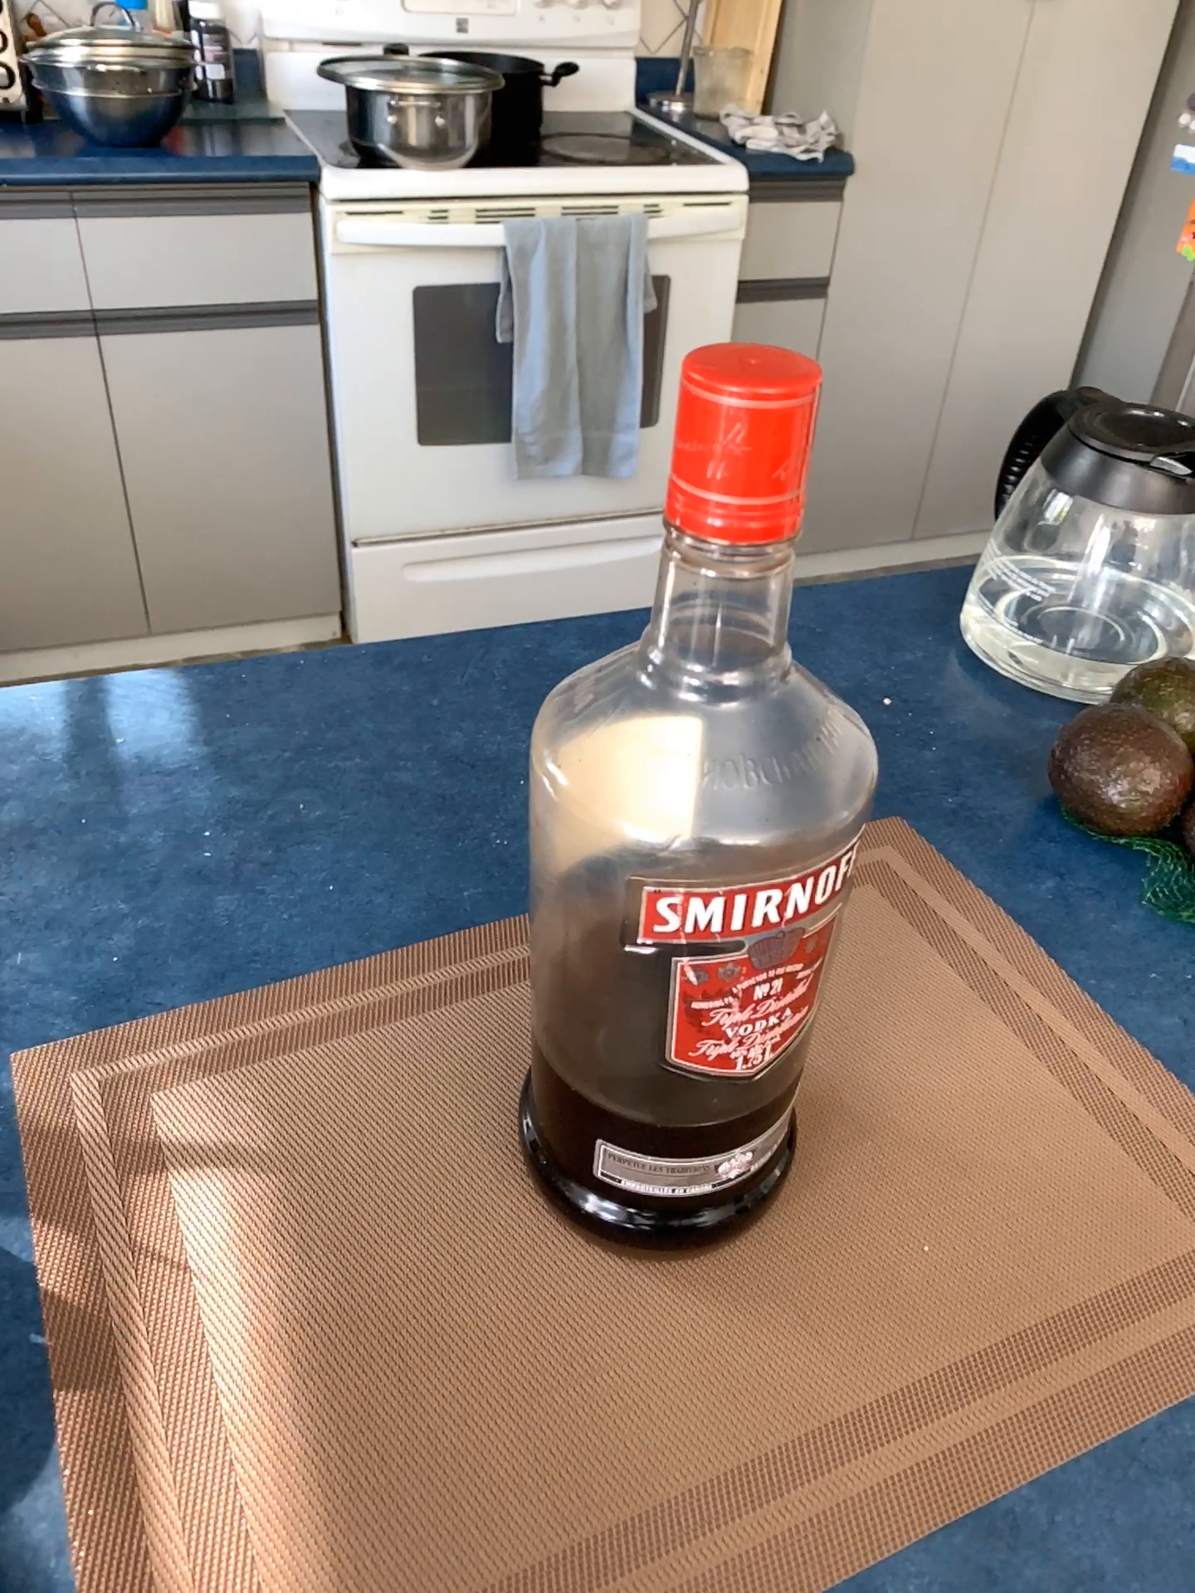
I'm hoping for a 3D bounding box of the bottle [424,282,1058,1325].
[{"bbox_3d":[0.023,0.016,0.403,0.120,0.317,0.111,3,37,-2],"label":"bottle"}]
